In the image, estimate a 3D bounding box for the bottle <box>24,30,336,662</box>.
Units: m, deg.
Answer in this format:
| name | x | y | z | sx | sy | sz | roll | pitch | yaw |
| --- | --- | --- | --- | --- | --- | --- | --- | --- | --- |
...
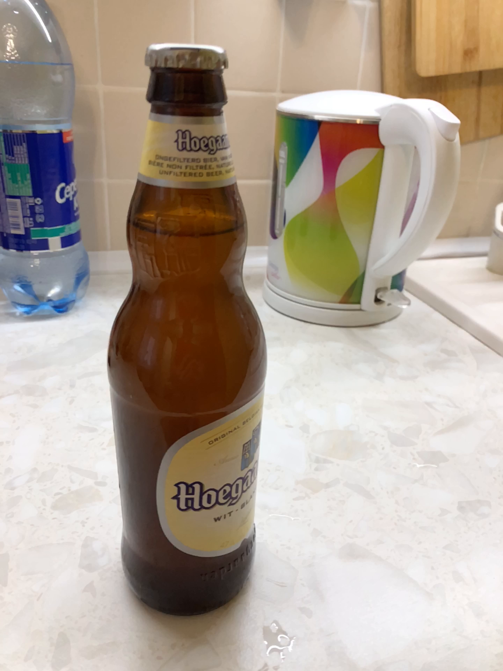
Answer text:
| name | x | y | z | sx | sy | sz | roll | pitch | yaw |
| --- | --- | --- | --- | --- | --- | --- | --- | --- | --- |
| bottle | -0.029 | 0.011 | 0.244 | 0.080 | 0.248 | 0.070 | 18 | 29 | 29 |
